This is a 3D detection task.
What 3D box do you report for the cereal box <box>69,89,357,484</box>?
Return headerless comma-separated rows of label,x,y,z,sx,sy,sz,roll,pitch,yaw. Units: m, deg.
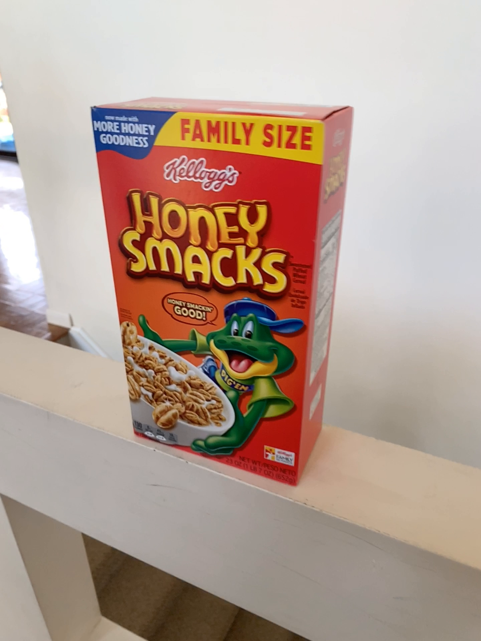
cereal box,-0.022,-0.032,0.482,0.210,0.338,0.100,12,30,21
